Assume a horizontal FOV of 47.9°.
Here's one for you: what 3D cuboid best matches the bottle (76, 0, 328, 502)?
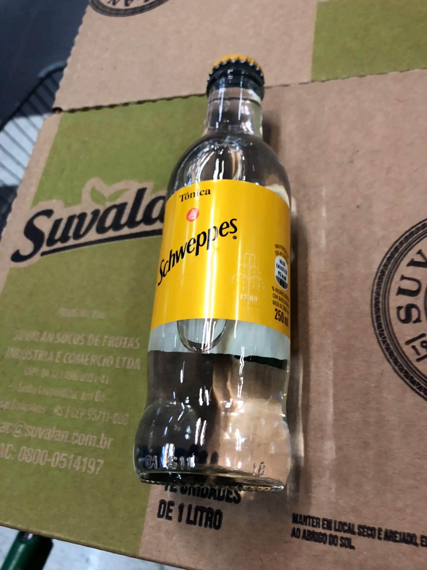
[{"bbox_3d":[0.007,-0.037,0.215,0.070,0.070,0.241,-4,65,16],"label":"bottle"}]
